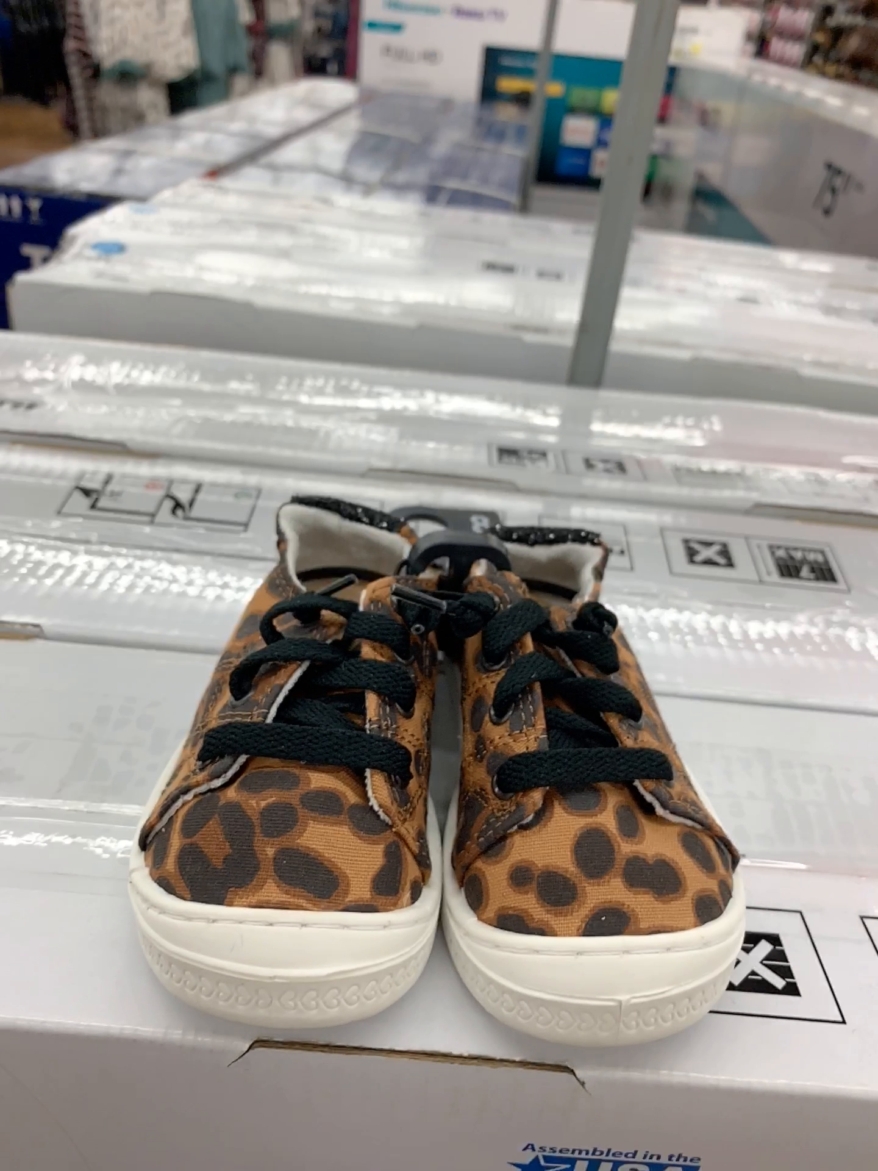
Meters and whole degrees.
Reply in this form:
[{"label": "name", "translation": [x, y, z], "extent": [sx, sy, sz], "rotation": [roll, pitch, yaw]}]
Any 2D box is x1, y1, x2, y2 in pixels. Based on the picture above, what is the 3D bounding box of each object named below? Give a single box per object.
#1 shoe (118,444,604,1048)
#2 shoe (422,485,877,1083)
[{"label": "shoe", "translation": [-0.013, 0.021, 0.234], "extent": [0.080, 0.040, 0.171], "rotation": [5, 33, -2]}, {"label": "shoe", "translation": [0.038, 0.033, 0.240], "extent": [0.080, 0.040, 0.171], "rotation": [3, 33, -4]}]
